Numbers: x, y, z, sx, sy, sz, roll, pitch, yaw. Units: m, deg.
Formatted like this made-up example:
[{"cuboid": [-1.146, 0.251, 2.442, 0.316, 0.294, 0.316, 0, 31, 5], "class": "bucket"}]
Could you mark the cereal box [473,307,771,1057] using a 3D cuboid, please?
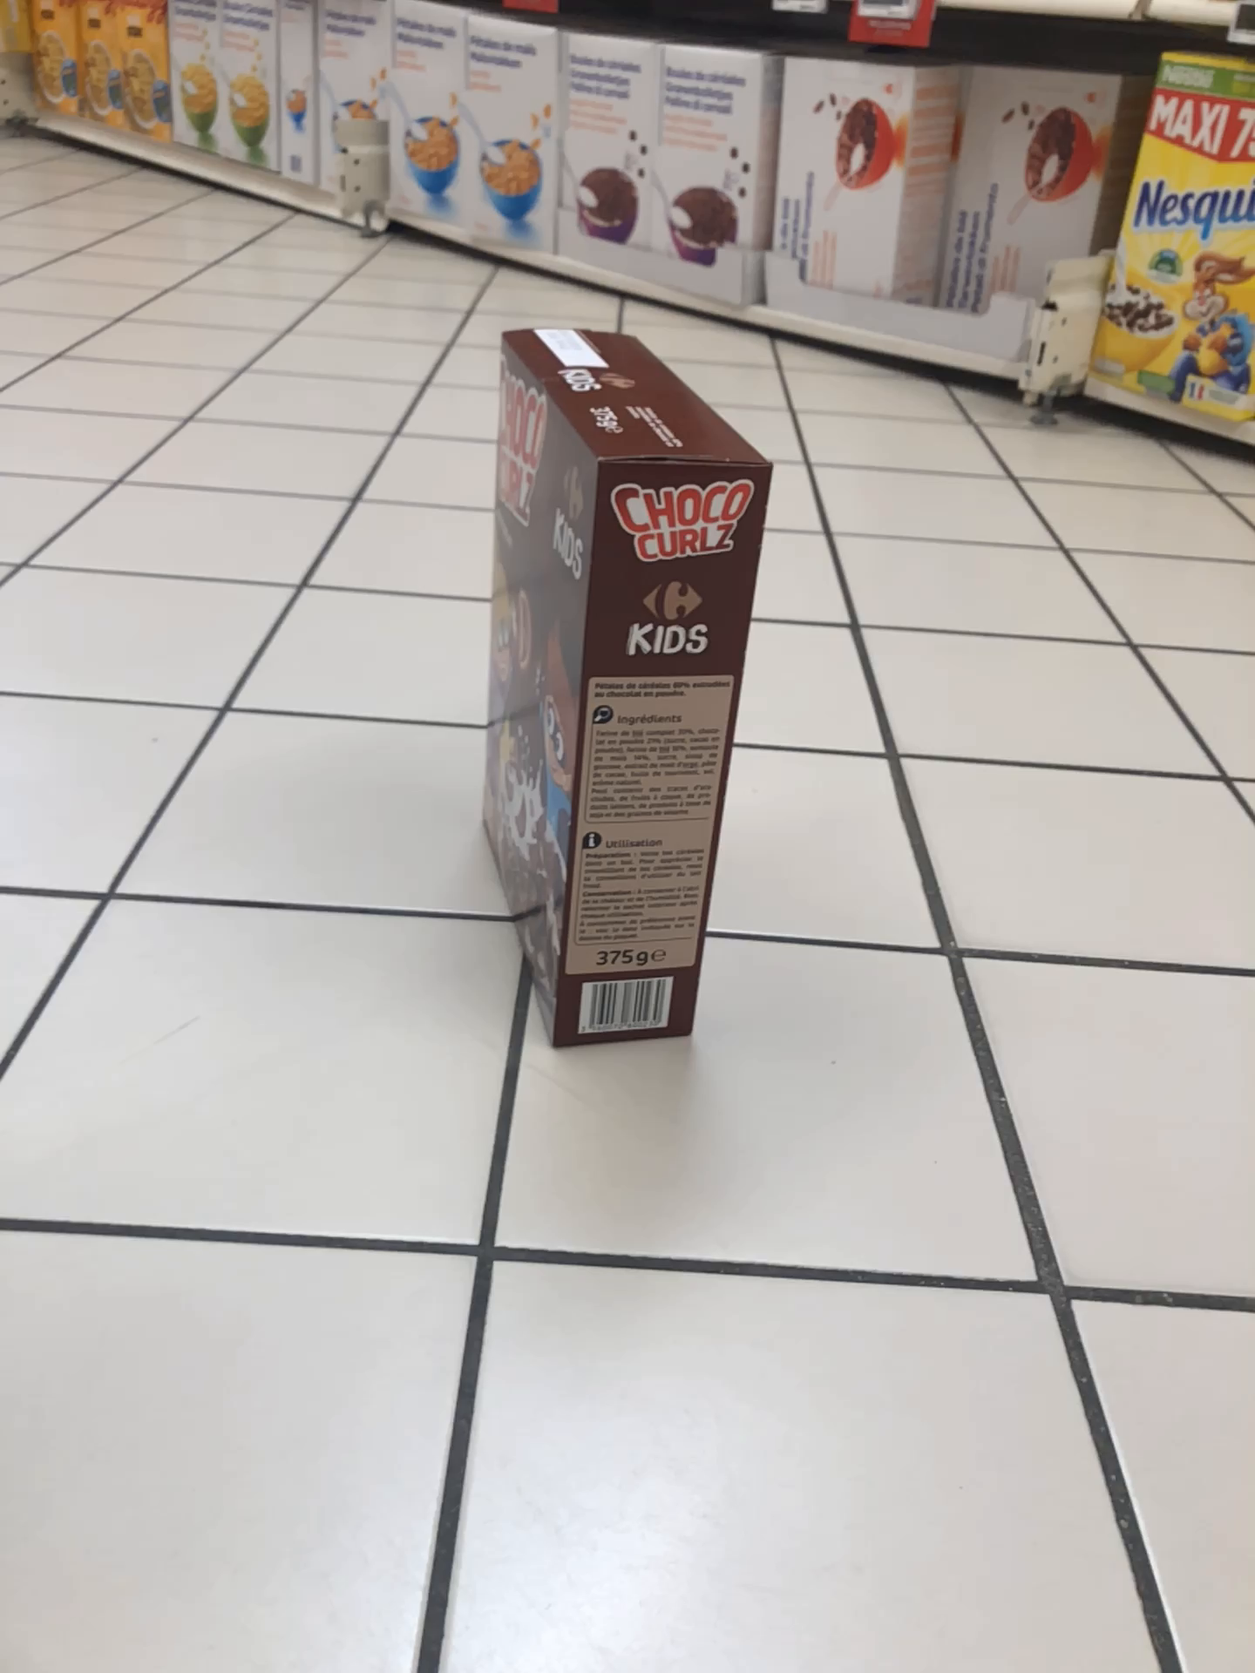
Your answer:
[{"cuboid": [-0.018, -0.073, 0.600, 0.070, 0.258, 0.201, -4, 31, -13], "class": "cereal box"}]
